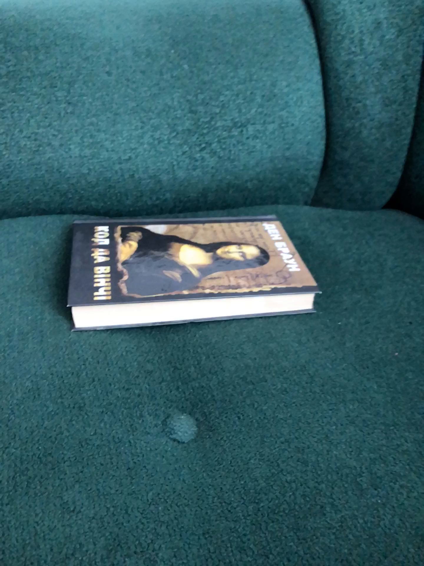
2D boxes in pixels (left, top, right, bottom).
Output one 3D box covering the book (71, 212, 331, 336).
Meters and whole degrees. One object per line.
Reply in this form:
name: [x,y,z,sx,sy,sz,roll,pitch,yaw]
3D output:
book: [-0.017,-0.017,0.433,0.209,0.030,0.136,-4,37,-11]
